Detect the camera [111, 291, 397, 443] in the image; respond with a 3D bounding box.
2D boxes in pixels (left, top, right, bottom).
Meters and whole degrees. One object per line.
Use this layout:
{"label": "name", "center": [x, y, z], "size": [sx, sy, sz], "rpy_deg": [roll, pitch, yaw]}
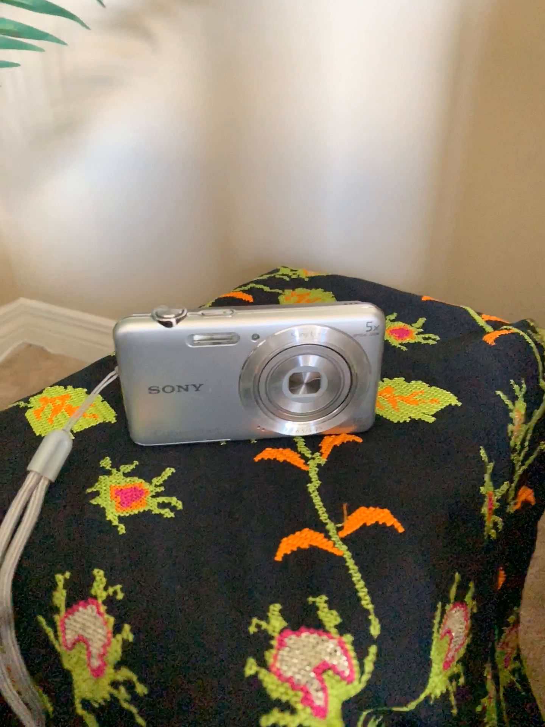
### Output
{"label": "camera", "center": [-0.006, 0.001, 0.189], "size": [0.086, 0.042, 0.020], "rpy_deg": [-3, 30, -4]}
